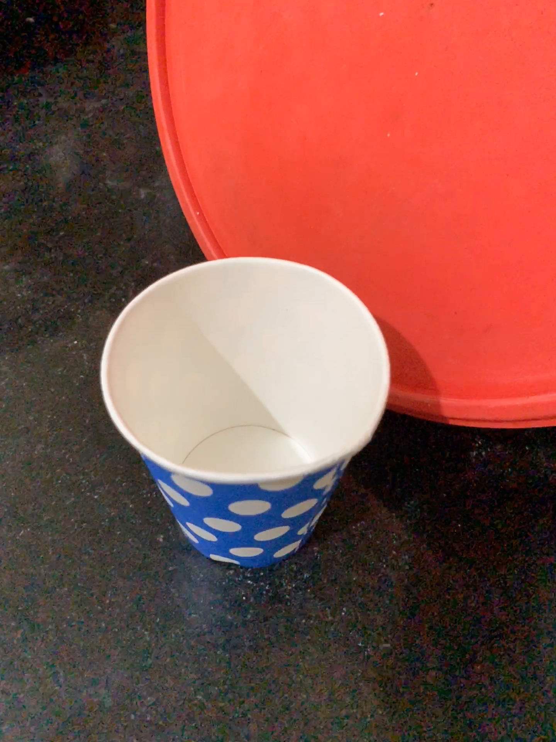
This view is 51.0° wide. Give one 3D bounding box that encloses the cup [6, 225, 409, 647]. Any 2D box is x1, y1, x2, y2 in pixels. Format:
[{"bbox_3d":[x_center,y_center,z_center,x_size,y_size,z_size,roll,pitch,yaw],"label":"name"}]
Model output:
[{"bbox_3d":[-0.015,0.020,0.170,0.070,0.079,0.070,2,52,-2],"label":"cup"}]
